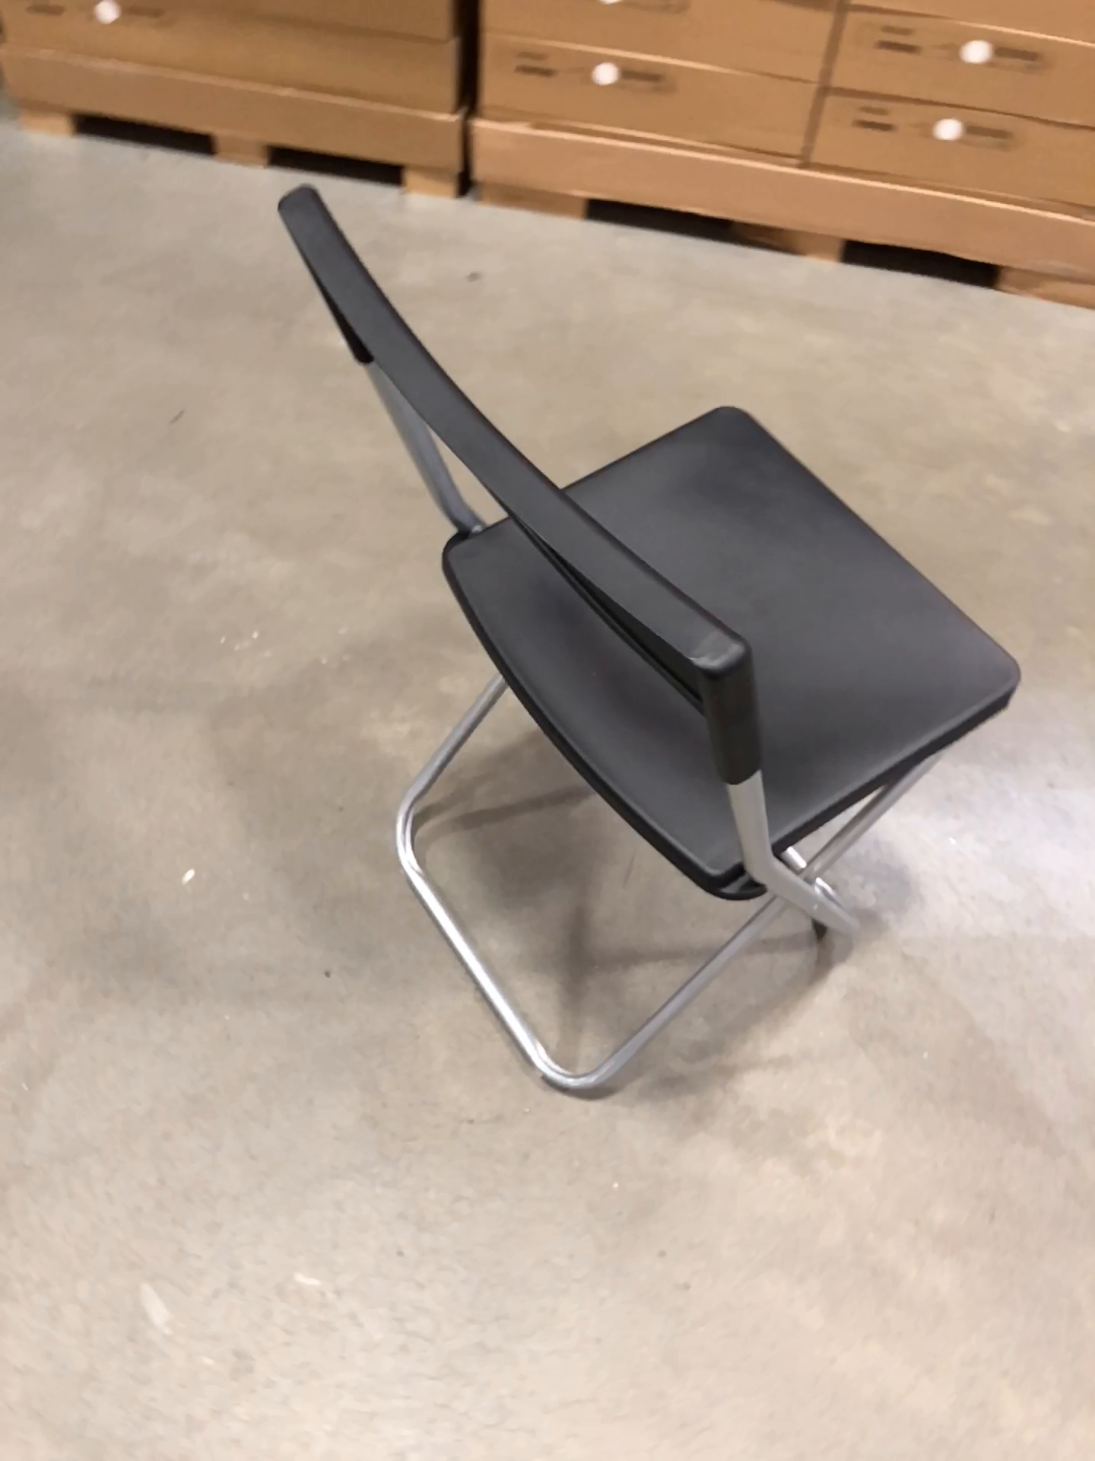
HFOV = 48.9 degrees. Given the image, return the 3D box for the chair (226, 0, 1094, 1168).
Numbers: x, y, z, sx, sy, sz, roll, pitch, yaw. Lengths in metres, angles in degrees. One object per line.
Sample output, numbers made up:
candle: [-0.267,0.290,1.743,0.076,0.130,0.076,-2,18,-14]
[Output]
chair: [0.115,-0.076,0.974,0.460,0.758,0.461,-28,62,-21]
